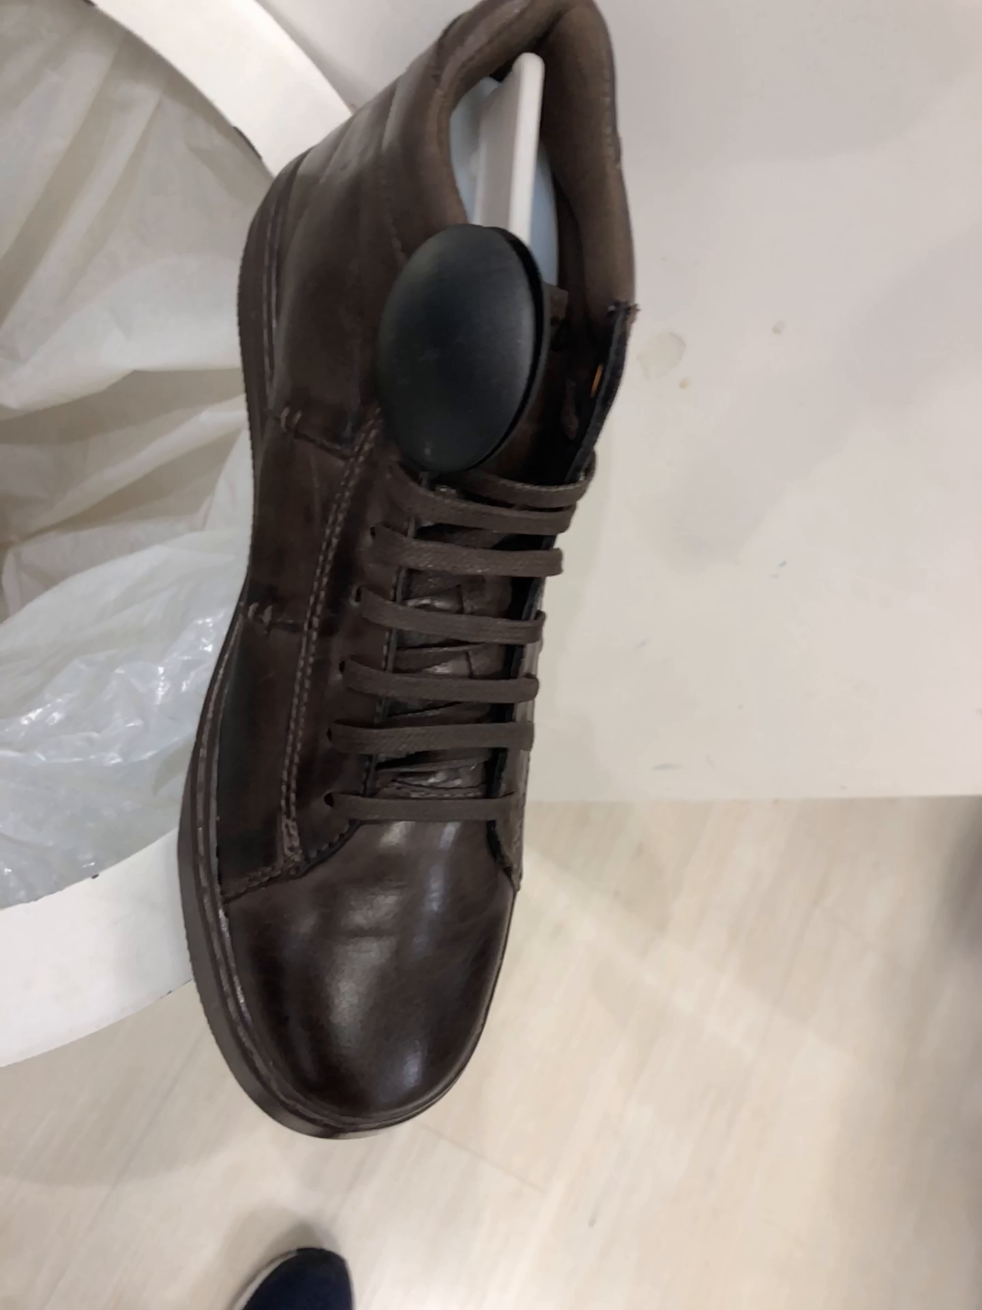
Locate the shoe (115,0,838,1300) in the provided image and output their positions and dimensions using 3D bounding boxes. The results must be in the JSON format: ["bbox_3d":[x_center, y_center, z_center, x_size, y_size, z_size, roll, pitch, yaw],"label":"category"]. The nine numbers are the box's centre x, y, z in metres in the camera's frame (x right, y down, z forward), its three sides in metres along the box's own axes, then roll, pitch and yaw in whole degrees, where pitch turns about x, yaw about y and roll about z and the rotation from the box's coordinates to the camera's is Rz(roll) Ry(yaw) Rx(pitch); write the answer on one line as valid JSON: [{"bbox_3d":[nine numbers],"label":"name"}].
[{"bbox_3d":[-0.010,-0.017,0.283,0.121,0.139,0.270,6,80,-30],"label":"shoe"}]
